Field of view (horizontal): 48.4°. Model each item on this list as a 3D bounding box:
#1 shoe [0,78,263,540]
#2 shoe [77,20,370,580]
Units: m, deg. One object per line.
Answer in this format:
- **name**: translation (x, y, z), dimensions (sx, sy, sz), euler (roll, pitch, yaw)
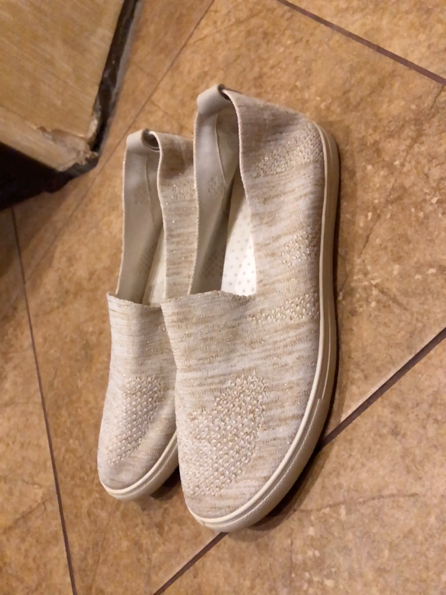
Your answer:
- **shoe**: translation (-0.062, 0.006, 0.317), dimensions (0.090, 0.080, 0.250), euler (3, 75, 48)
- **shoe**: translation (0.008, -0.003, 0.281), dimensions (0.100, 0.080, 0.260), euler (-7, 67, 45)
